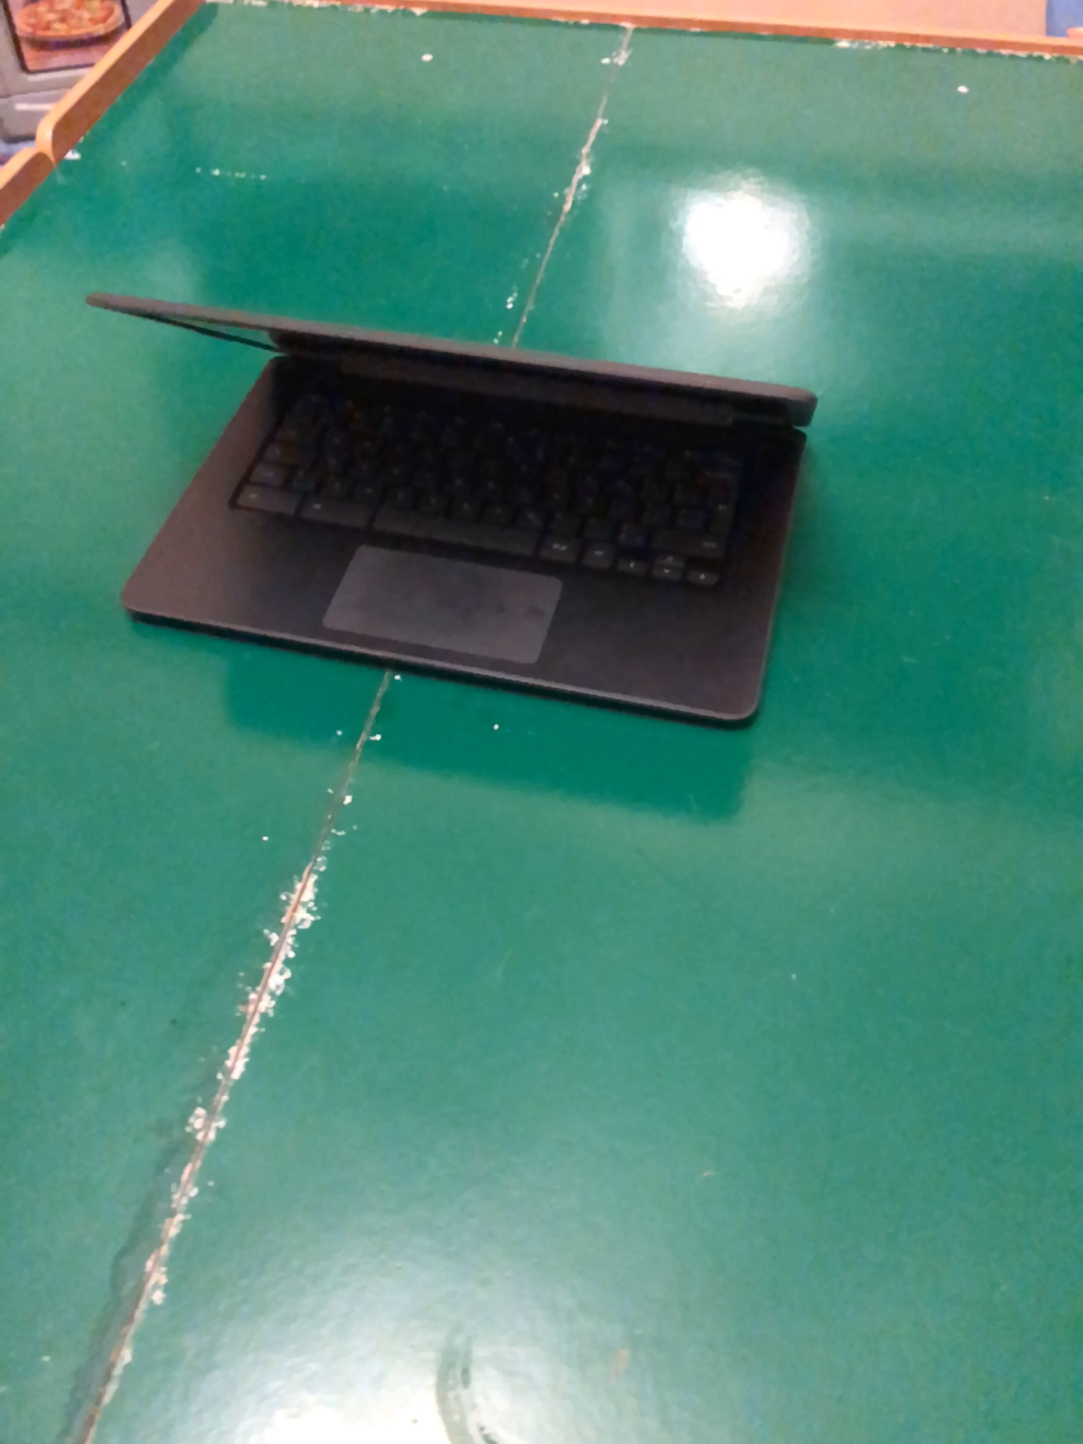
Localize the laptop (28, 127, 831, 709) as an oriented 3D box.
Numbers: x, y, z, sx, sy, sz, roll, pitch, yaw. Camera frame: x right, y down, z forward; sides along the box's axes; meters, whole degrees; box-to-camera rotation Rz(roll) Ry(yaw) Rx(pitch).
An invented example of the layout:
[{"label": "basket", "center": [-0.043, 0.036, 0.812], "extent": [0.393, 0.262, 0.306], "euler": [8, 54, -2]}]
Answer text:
[{"label": "laptop", "center": [-0.037, -0.160, 0.594], "extent": [0.316, 0.144, 0.209], "euler": [11, 53, 9]}]
